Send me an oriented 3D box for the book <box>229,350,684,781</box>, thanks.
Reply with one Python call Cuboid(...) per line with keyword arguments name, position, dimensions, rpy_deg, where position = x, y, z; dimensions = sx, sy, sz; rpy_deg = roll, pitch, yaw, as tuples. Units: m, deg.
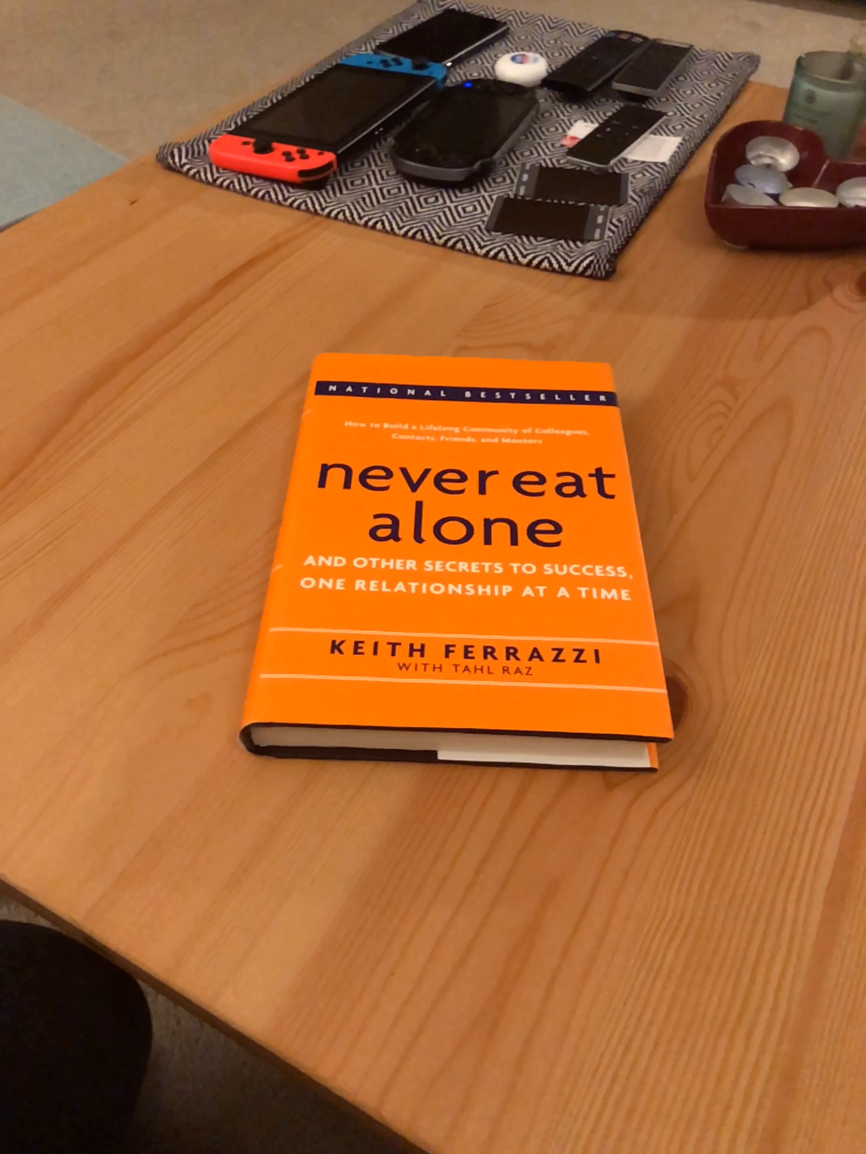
Cuboid(name="book", position=(0.012, -0.022, 0.440), dimensions=(0.166, 0.025, 0.241), rpy_deg=(2, 47, 0))
